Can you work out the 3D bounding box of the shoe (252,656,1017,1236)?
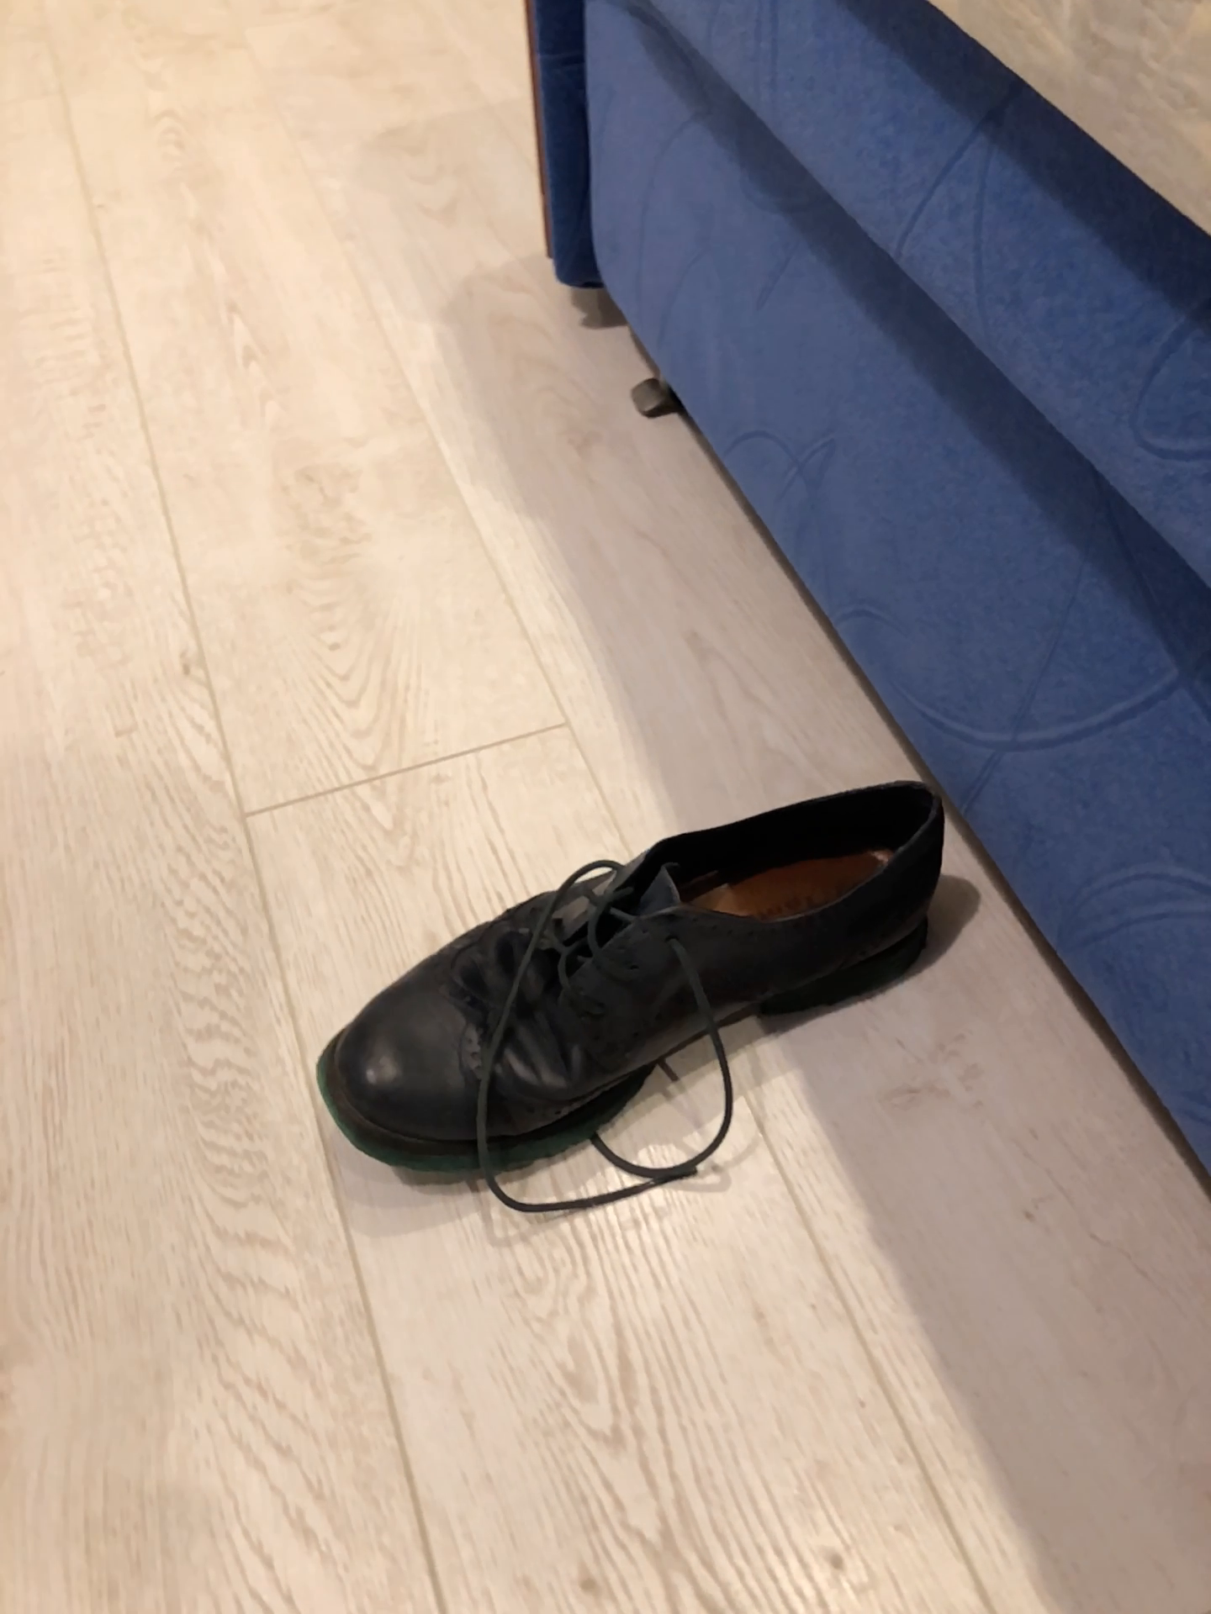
[{"bbox_3d":[0.013,0.046,0.499,0.250,0.089,0.096,-22,54,-15],"label":"shoe"}]
